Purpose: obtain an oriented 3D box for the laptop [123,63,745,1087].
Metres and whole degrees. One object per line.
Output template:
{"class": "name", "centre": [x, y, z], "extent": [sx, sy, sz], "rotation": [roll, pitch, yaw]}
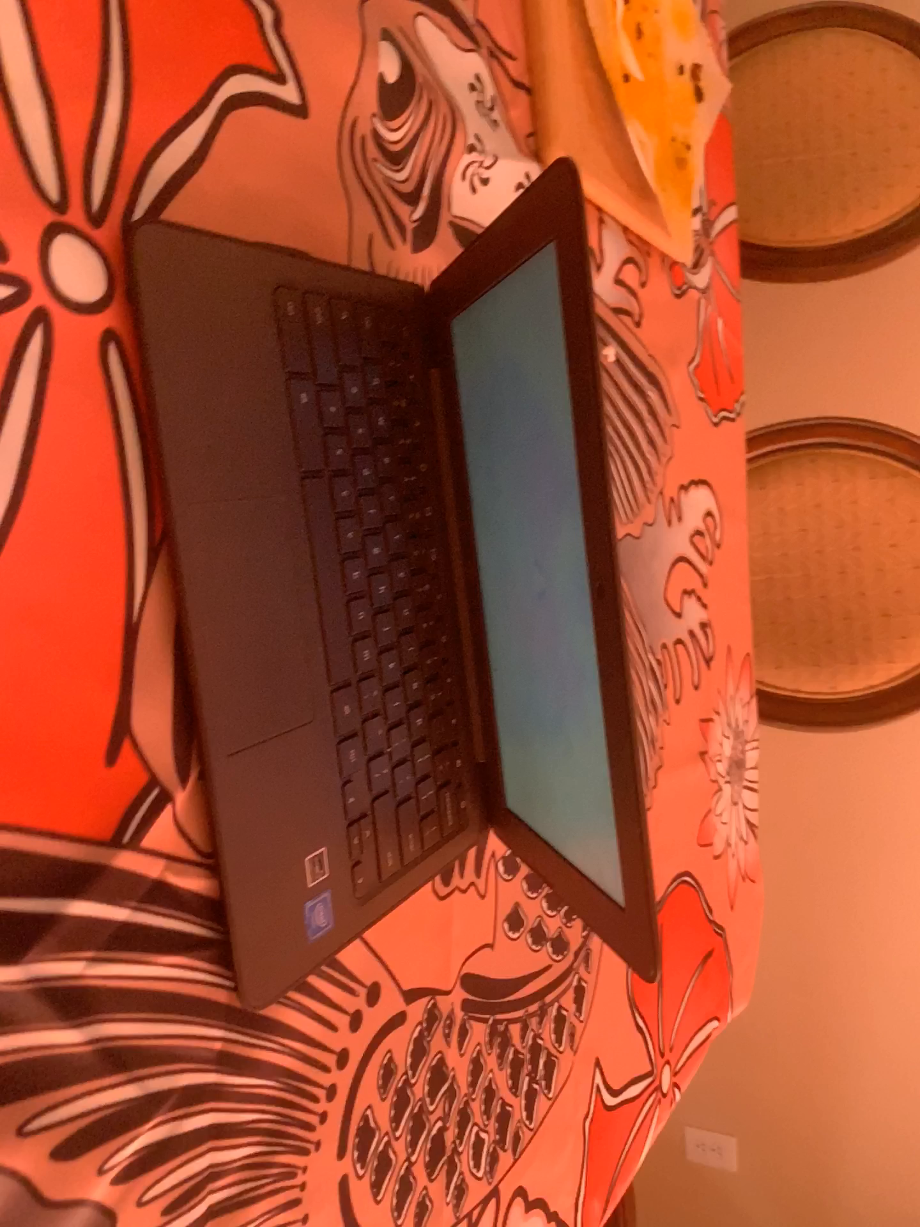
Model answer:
{"class": "laptop", "centre": [0.014, -0.013, 0.402], "extent": [0.212, 0.144, 0.299], "rotation": [-19, 104, -60]}
